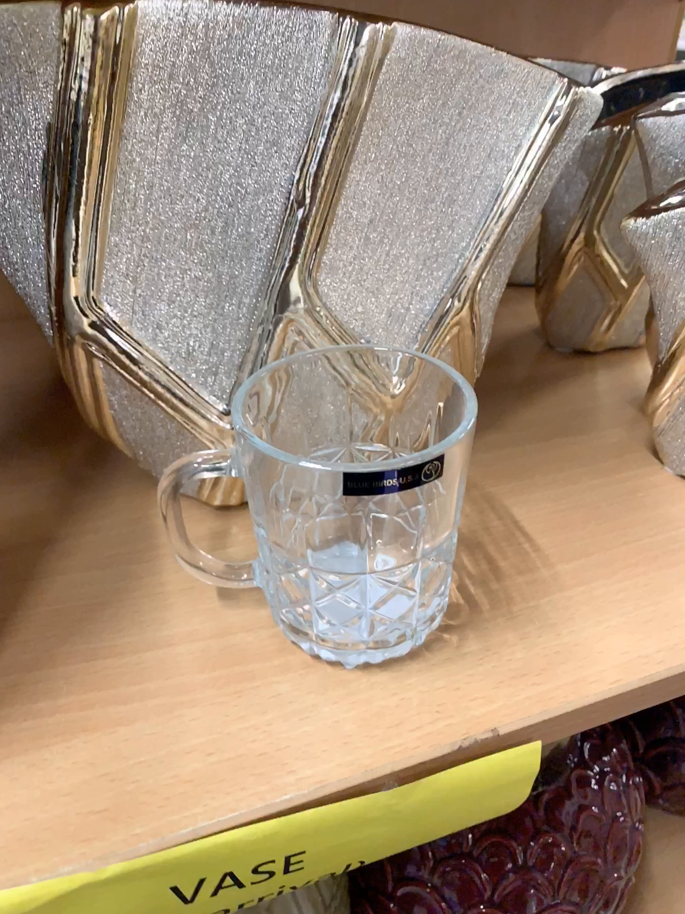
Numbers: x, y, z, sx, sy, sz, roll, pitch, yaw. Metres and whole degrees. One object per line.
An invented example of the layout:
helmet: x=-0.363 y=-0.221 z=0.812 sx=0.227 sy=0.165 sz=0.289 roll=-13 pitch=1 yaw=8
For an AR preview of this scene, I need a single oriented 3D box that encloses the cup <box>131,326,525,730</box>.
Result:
cup: x=-0.008 y=0.019 z=0.232 sx=0.100 sy=0.090 sz=0.070 roll=-10 pitch=34 yaw=-13
